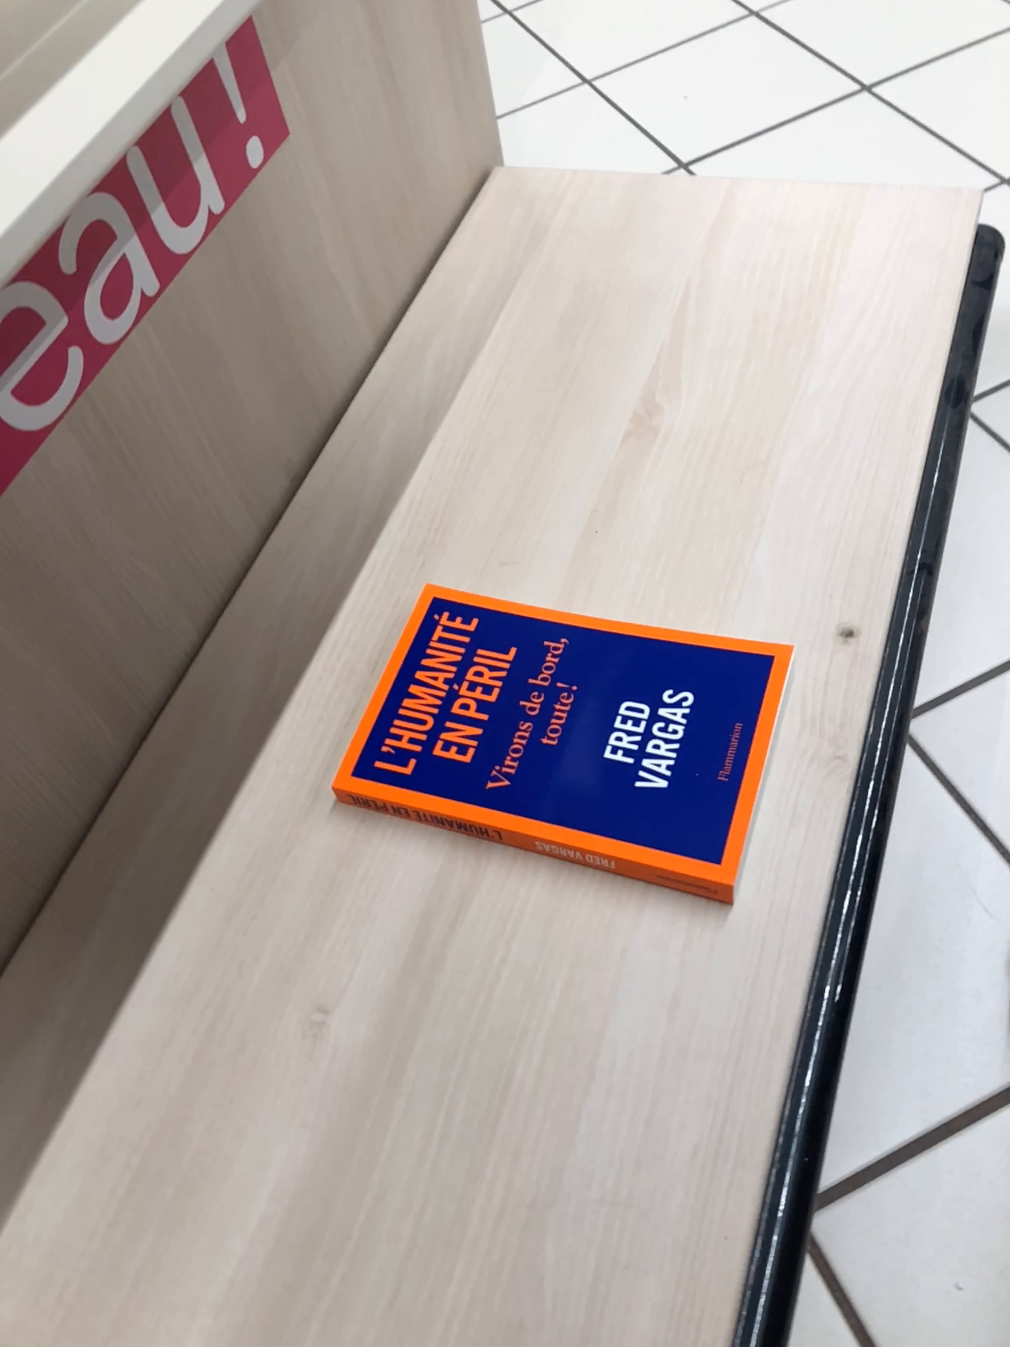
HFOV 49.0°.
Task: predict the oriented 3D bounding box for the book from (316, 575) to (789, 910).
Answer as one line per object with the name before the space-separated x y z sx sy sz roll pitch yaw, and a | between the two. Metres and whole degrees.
book | 0.027 0.027 0.572 0.207 0.030 0.138 11 57 19
